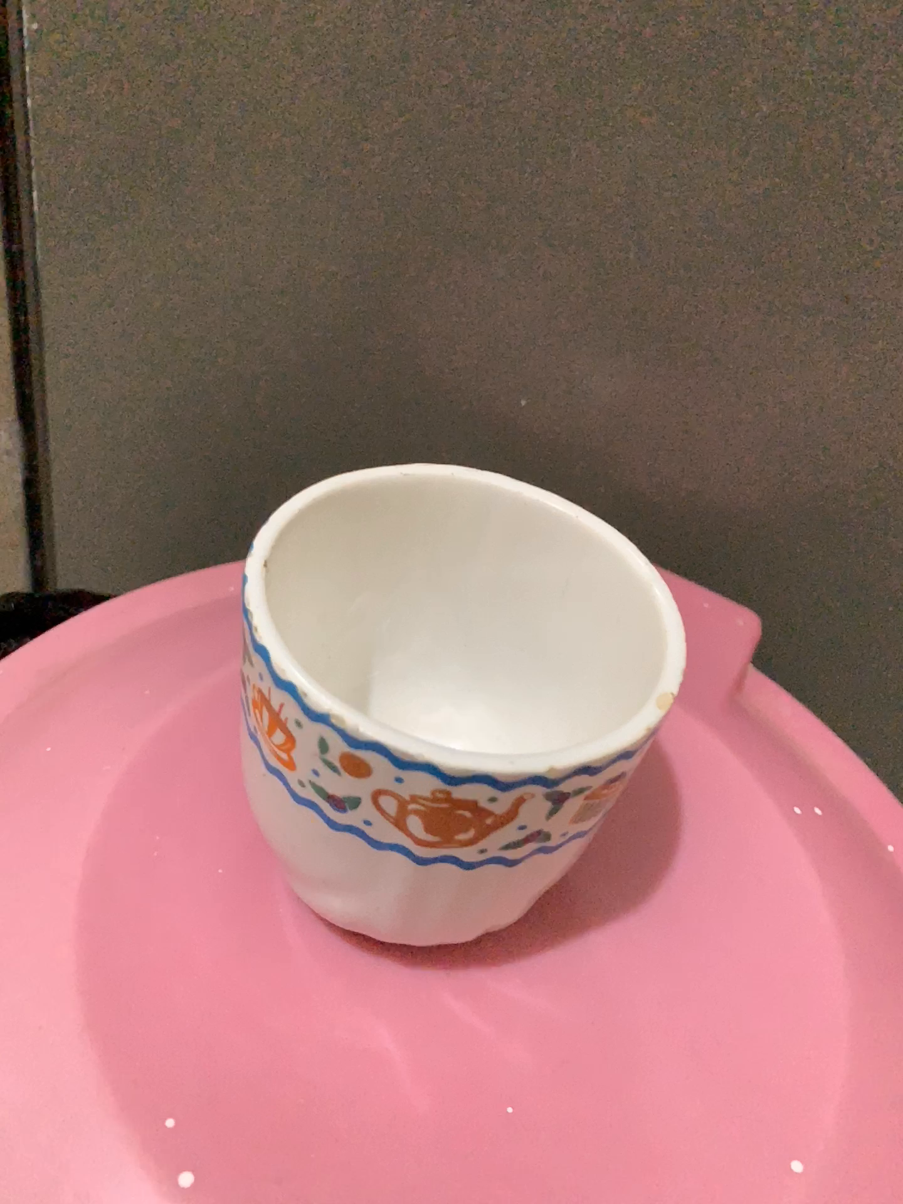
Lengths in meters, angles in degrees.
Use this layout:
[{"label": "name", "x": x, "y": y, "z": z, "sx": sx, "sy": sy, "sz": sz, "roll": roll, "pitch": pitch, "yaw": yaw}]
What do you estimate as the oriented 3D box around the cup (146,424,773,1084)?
[{"label": "cup", "x": -0.002, "y": 0.019, "z": 0.166, "sx": 0.070, "sy": 0.060, "sz": 0.070, "roll": 9, "pitch": 38, "yaw": -7}]
